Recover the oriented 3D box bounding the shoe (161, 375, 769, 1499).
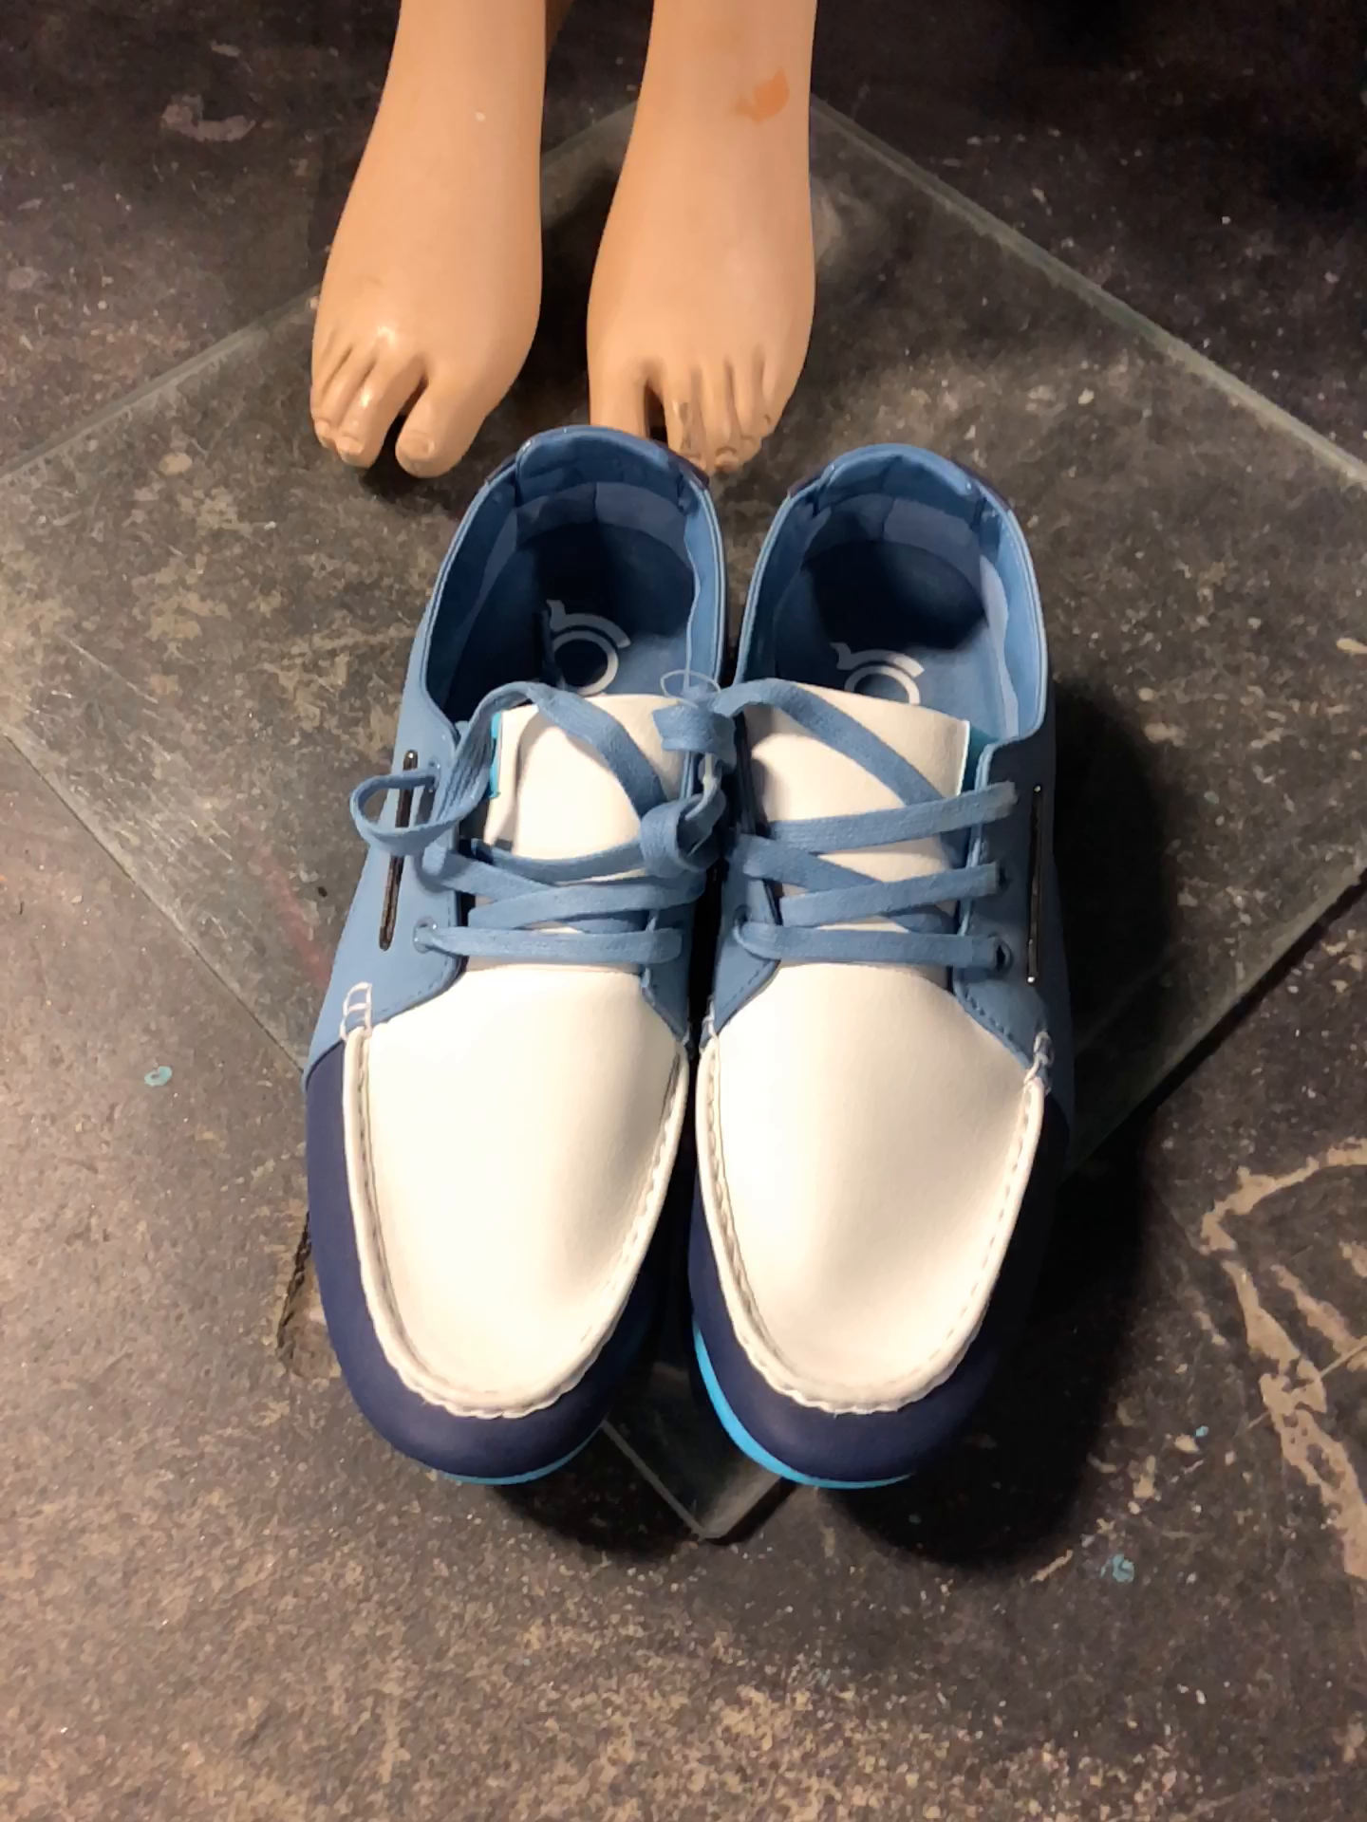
[{"bbox_3d":[-0.038,0.000,0.384,0.090,0.099,0.261,7,62,2],"label":"shoe"}]

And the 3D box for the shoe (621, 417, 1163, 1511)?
[{"bbox_3d":[0.054,0.007,0.382,0.100,0.099,0.251,5,62,4],"label":"shoe"}]
